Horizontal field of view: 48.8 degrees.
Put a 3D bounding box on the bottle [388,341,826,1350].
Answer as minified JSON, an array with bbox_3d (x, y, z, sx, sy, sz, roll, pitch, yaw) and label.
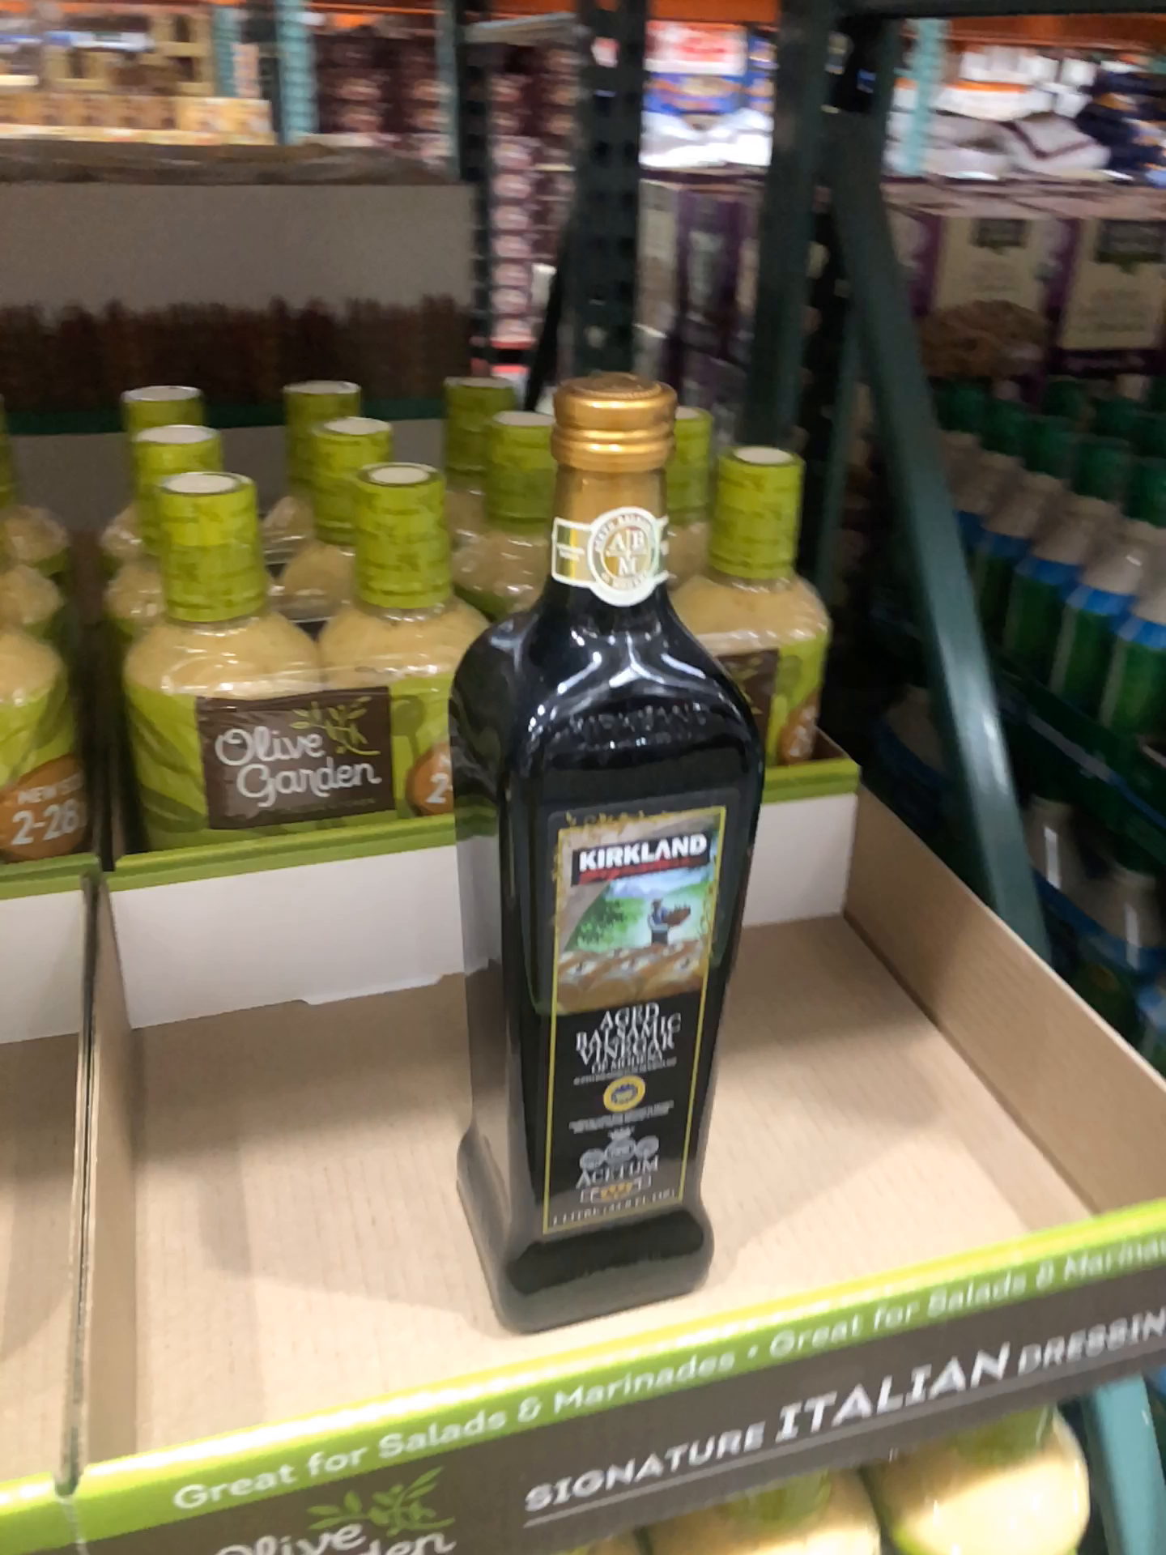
[{"bbox_3d":[-0.003,0.030,0.408,0.090,0.305,0.090,2,28,-1],"label":"bottle"}]
